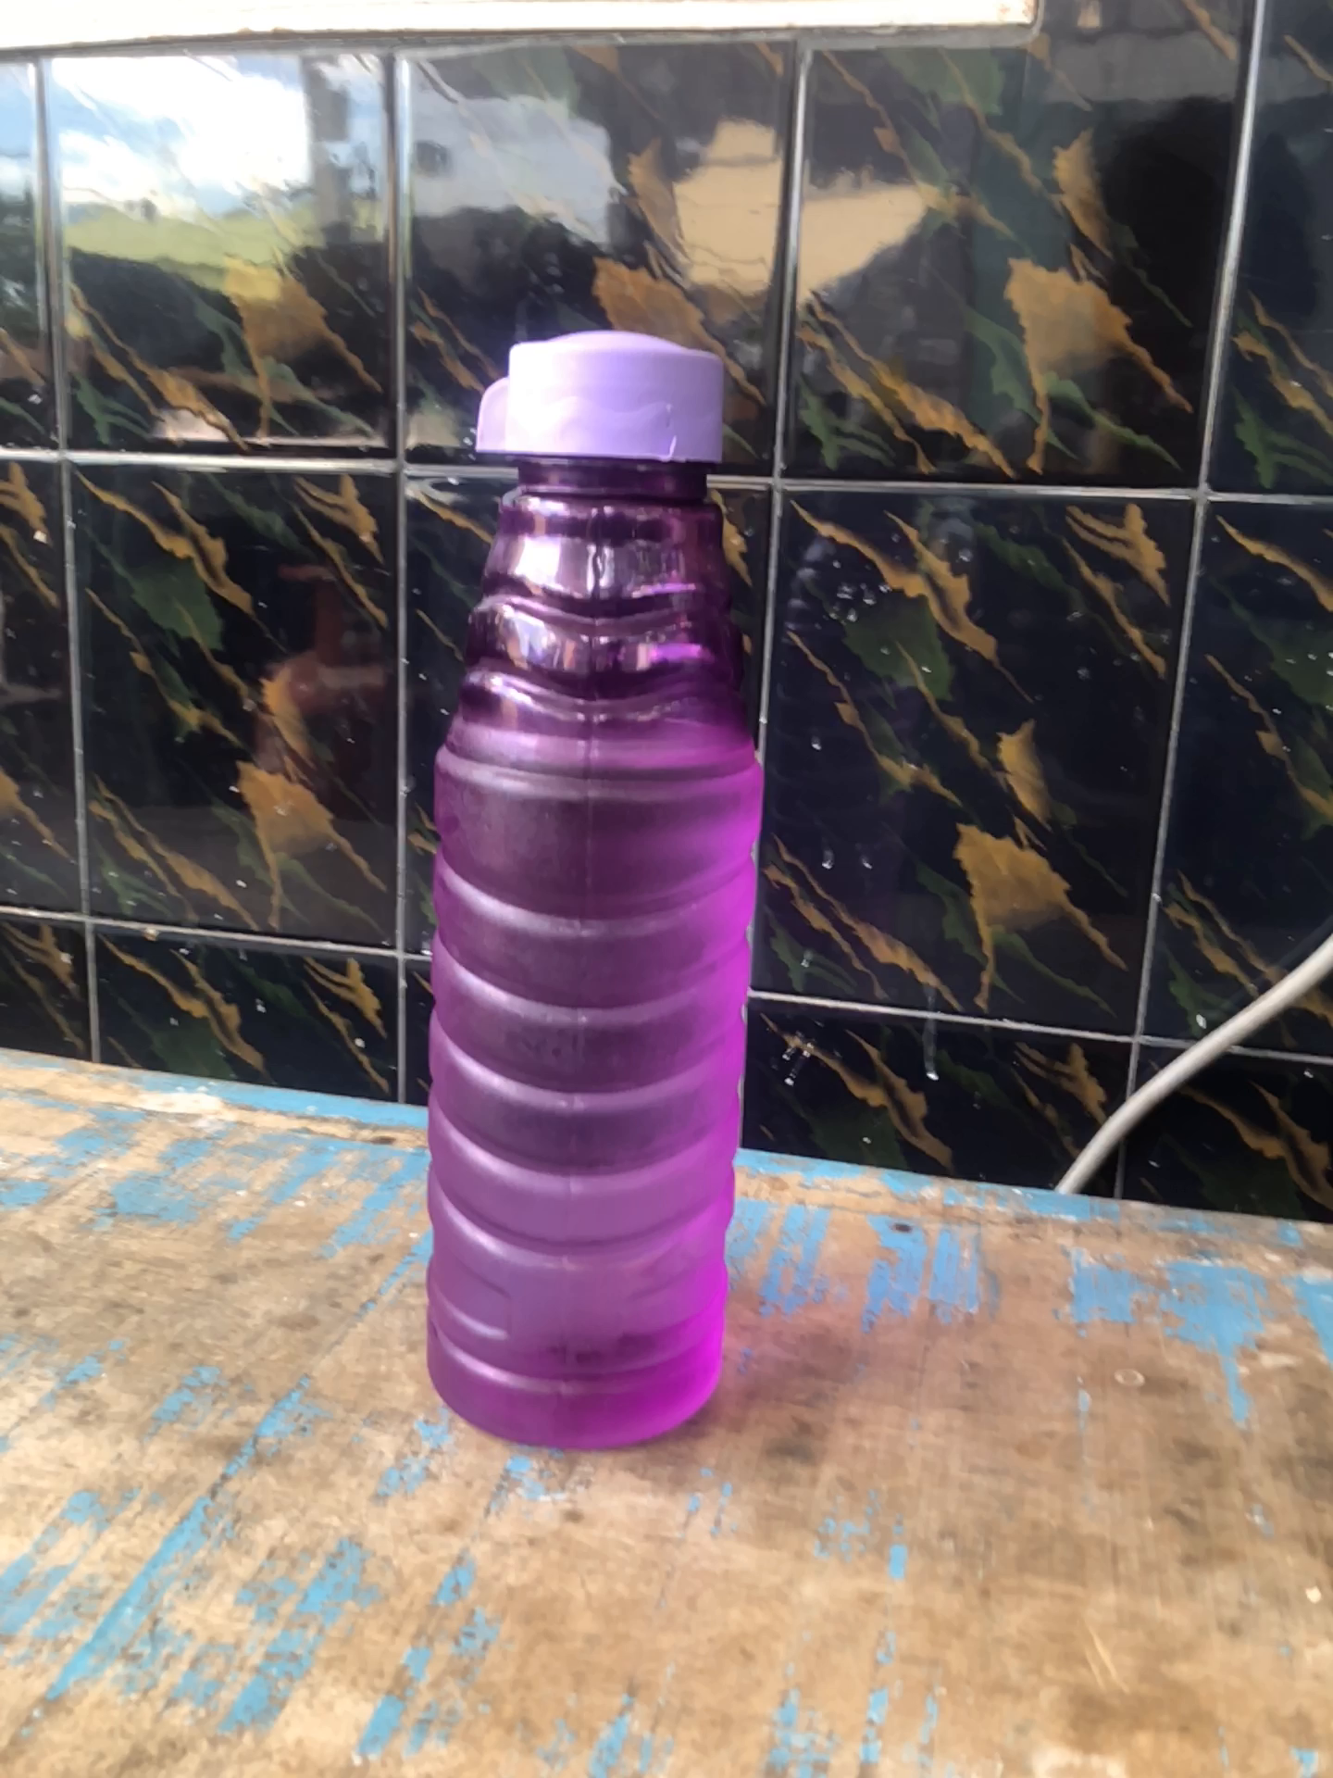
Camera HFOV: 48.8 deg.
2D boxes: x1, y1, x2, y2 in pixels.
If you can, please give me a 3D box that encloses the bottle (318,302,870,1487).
[{"bbox_3d":[-0.016,-0.002,0.341,0.090,0.239,0.080,8,15,23],"label":"bottle"}]
